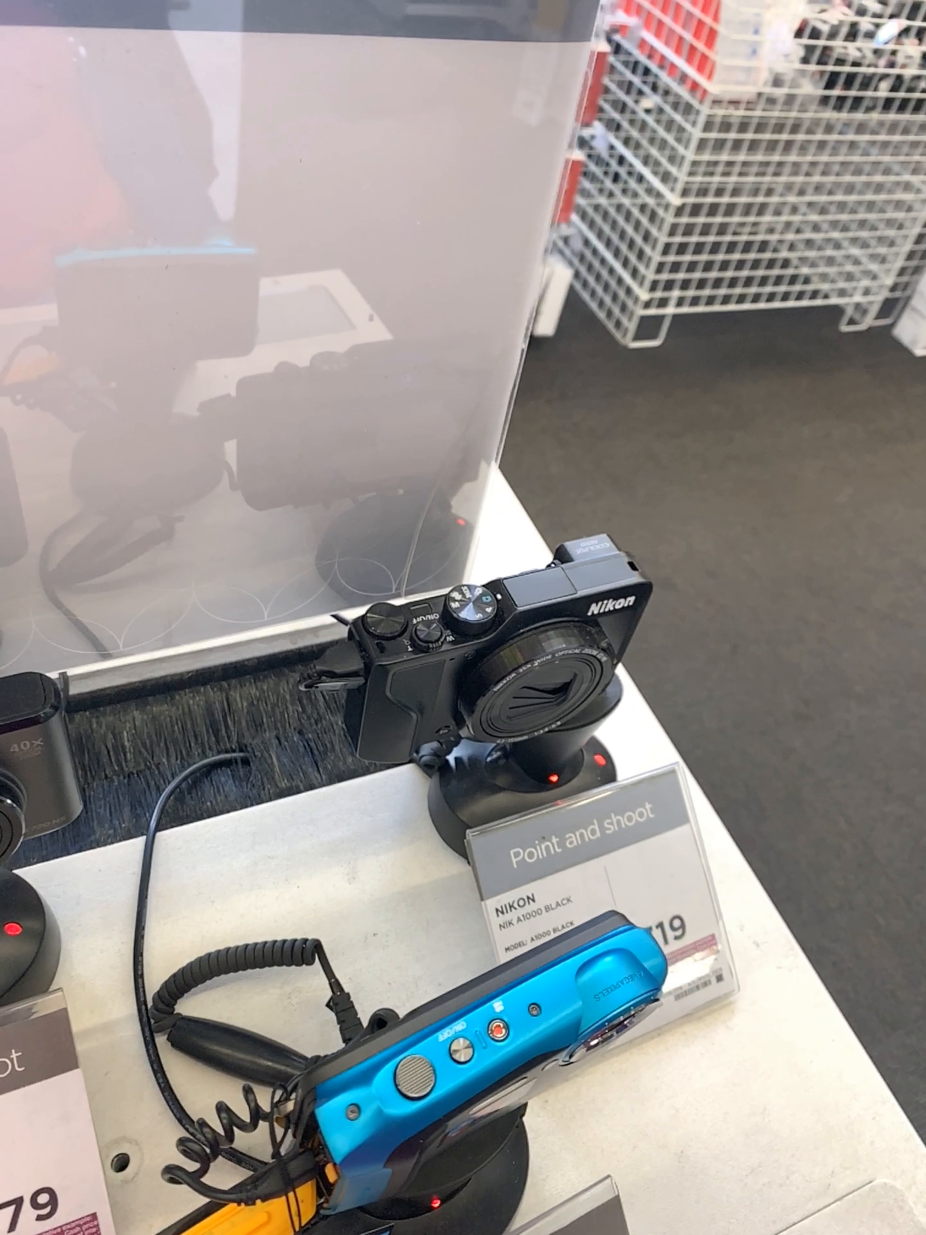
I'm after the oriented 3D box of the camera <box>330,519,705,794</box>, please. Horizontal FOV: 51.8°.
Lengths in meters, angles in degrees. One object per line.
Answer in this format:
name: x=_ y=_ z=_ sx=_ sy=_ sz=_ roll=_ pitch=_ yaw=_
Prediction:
camera: x=0.017 y=0.014 z=0.343 sx=0.120 sy=0.079 sz=0.030 roll=-13 pitch=52 yaw=-23
